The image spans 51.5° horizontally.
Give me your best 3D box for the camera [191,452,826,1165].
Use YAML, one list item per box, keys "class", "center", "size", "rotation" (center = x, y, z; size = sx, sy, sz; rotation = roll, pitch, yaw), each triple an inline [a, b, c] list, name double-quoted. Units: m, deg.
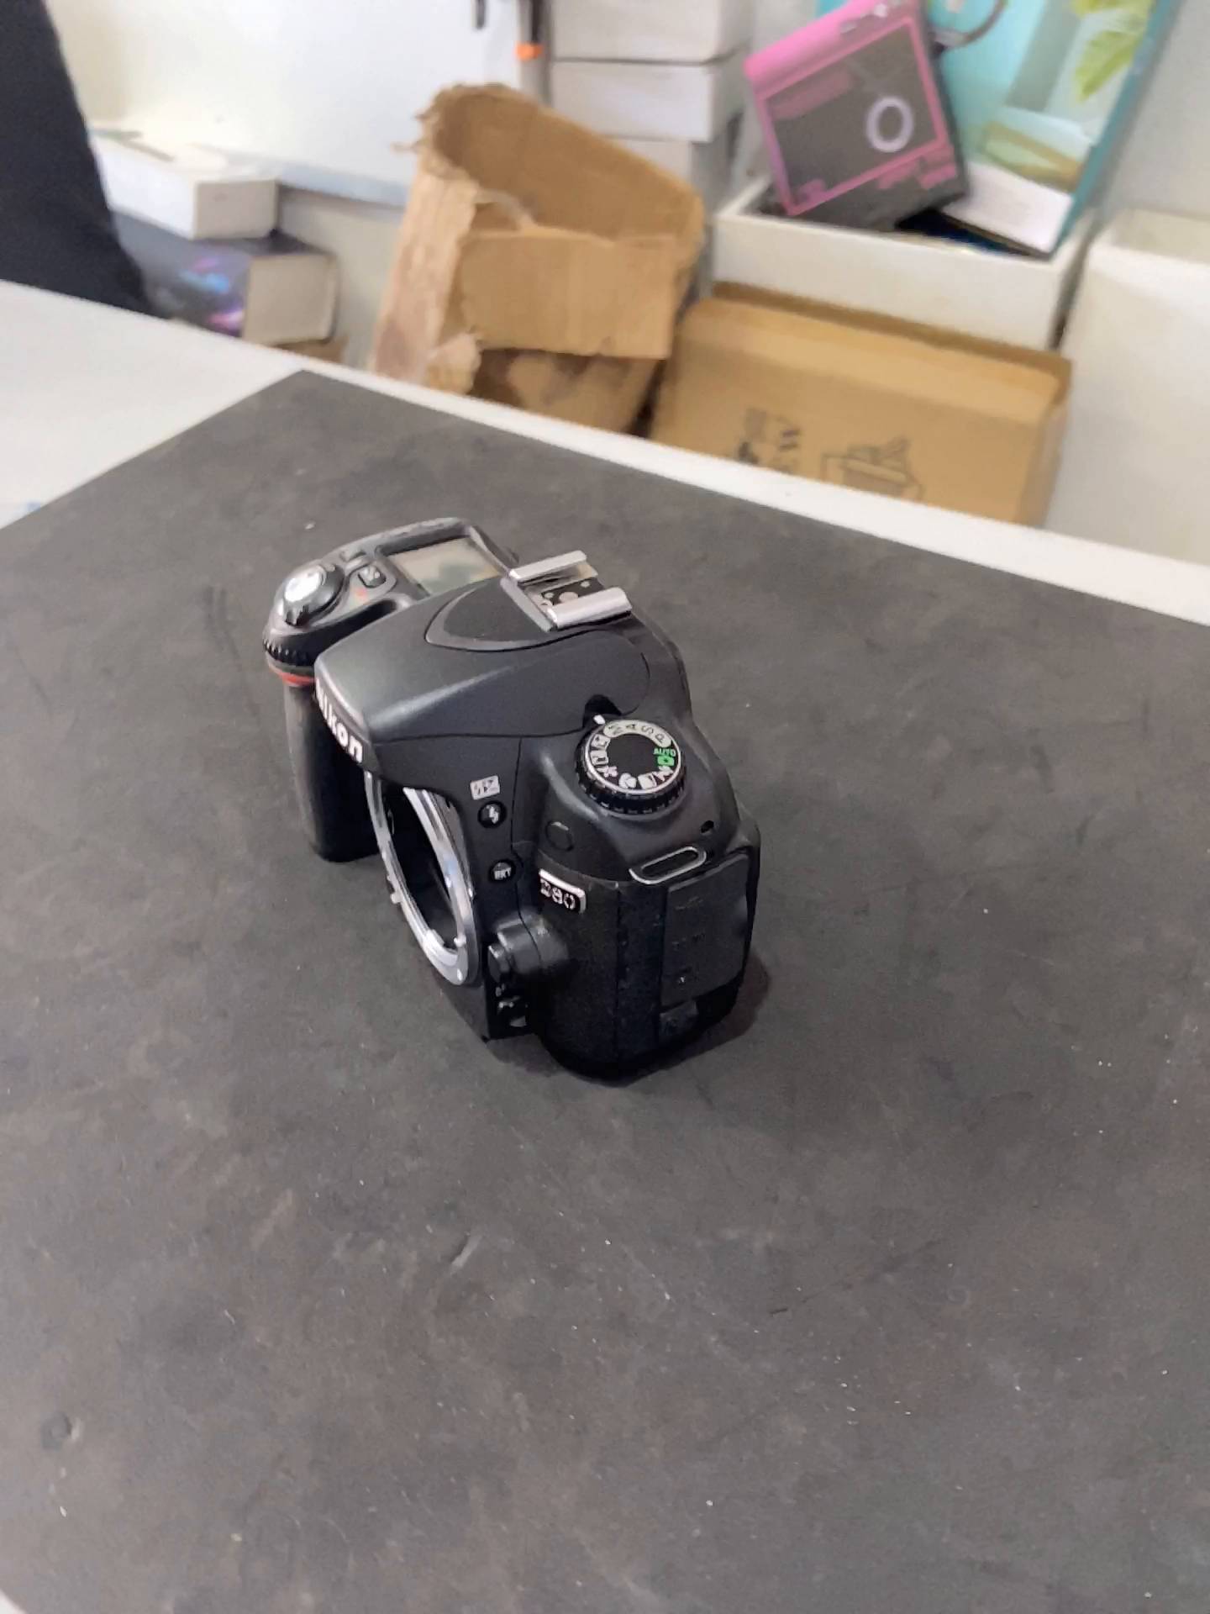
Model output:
- class: "camera"
  center: [-0.028, -0.009, 0.302]
  size: [0.084, 0.088, 0.136]
  rotation: [-22, 46, -23]
